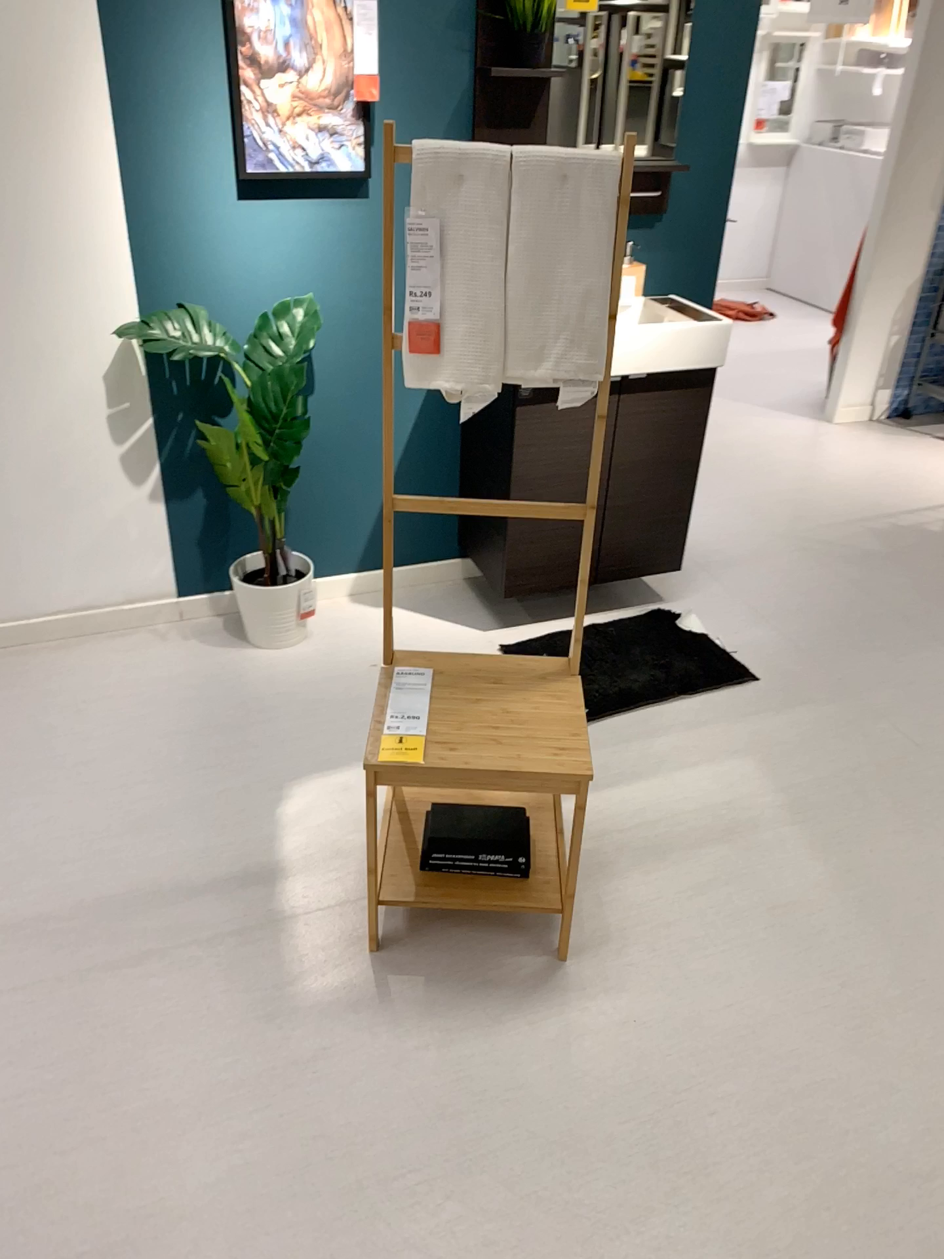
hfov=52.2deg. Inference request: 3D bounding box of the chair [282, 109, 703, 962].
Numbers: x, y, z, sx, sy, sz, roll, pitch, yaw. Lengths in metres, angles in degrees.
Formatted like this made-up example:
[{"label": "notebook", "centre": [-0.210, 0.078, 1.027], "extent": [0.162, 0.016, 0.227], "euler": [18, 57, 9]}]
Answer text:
[{"label": "chair", "centre": [0.009, -0.099, 1.585], "extent": [0.460, 1.294, 0.472], "euler": [3, 31, 1]}]
